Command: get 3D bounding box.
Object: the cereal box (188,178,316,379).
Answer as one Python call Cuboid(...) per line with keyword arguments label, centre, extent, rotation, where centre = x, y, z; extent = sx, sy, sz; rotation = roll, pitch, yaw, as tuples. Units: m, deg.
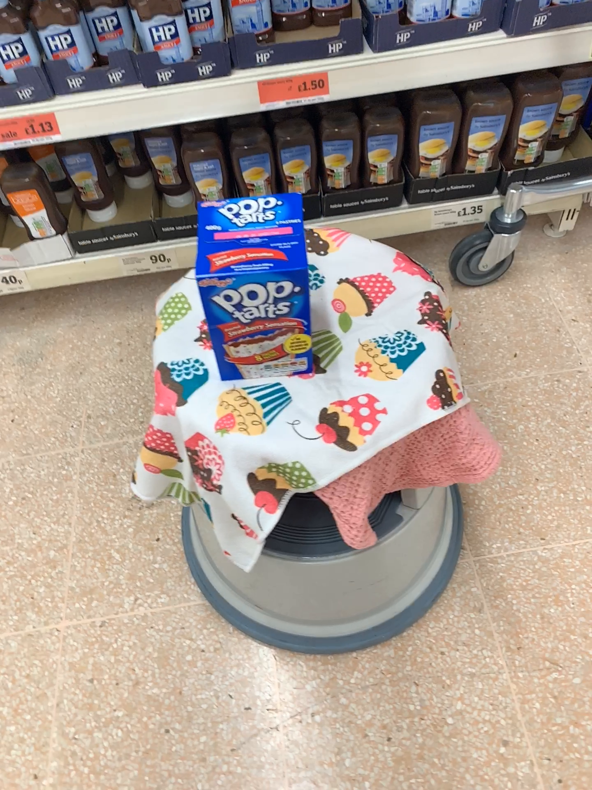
Cuboid(label="cereal box", centre=(-0.034, -0.100, 0.543), extent=(0.090, 0.139, 0.101), rotation=(-5, 54, 2))
